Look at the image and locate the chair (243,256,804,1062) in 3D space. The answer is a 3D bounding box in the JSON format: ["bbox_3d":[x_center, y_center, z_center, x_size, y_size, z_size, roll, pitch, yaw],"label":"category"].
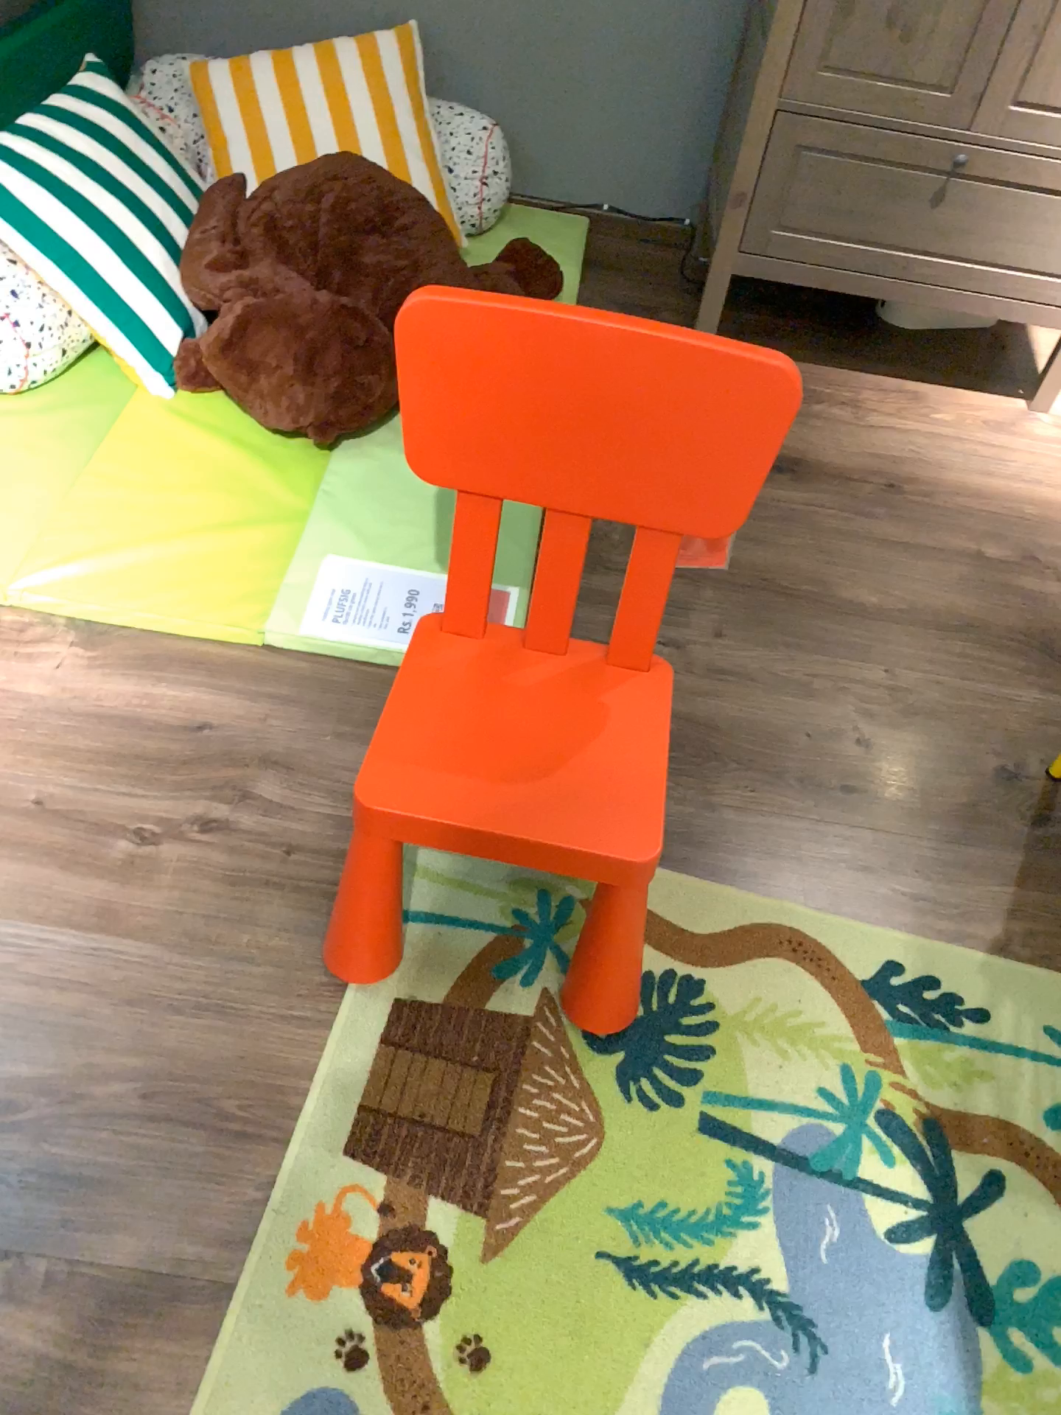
[{"bbox_3d":[-0.003,-0.028,1.089,0.380,0.598,0.462,12,47,2],"label":"chair"}]
